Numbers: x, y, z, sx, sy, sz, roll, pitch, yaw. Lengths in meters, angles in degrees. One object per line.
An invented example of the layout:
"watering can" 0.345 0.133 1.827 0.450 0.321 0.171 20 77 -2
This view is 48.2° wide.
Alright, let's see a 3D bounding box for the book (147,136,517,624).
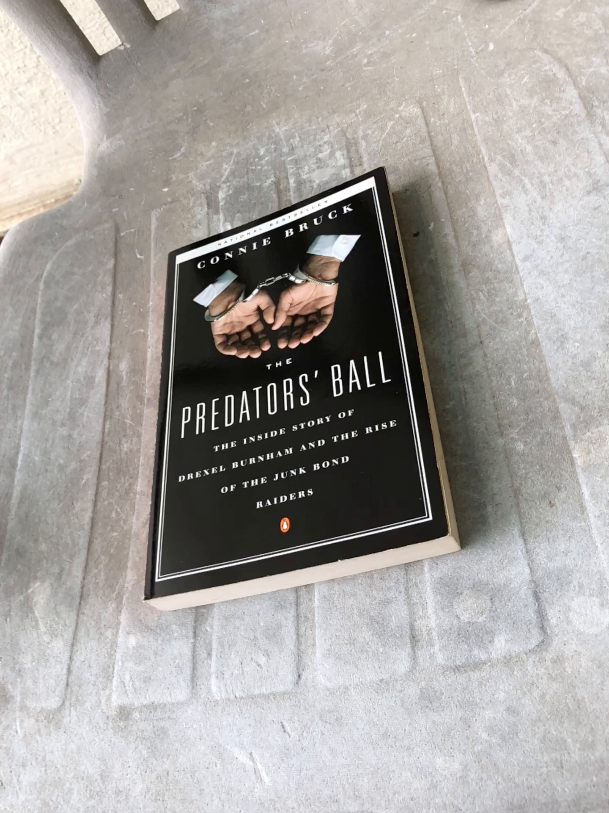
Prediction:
"book" 0.001 -0.020 0.316 0.140 0.030 0.210 -17 55 19
